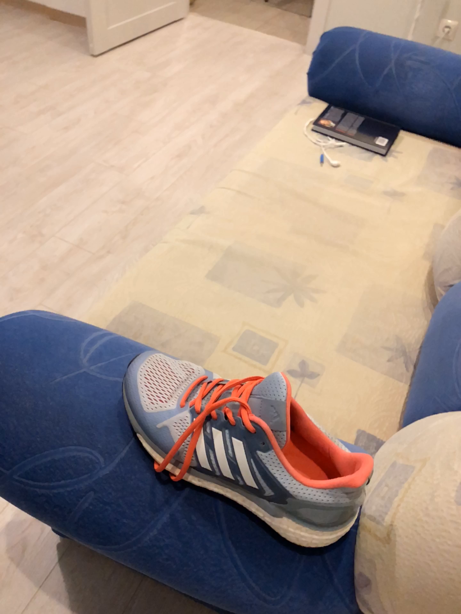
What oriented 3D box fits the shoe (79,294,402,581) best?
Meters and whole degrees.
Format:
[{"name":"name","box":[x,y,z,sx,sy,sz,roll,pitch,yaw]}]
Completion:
[{"name":"shoe","box":[0.001,0.115,0.486,0.270,0.109,0.108,28,50,18]}]
